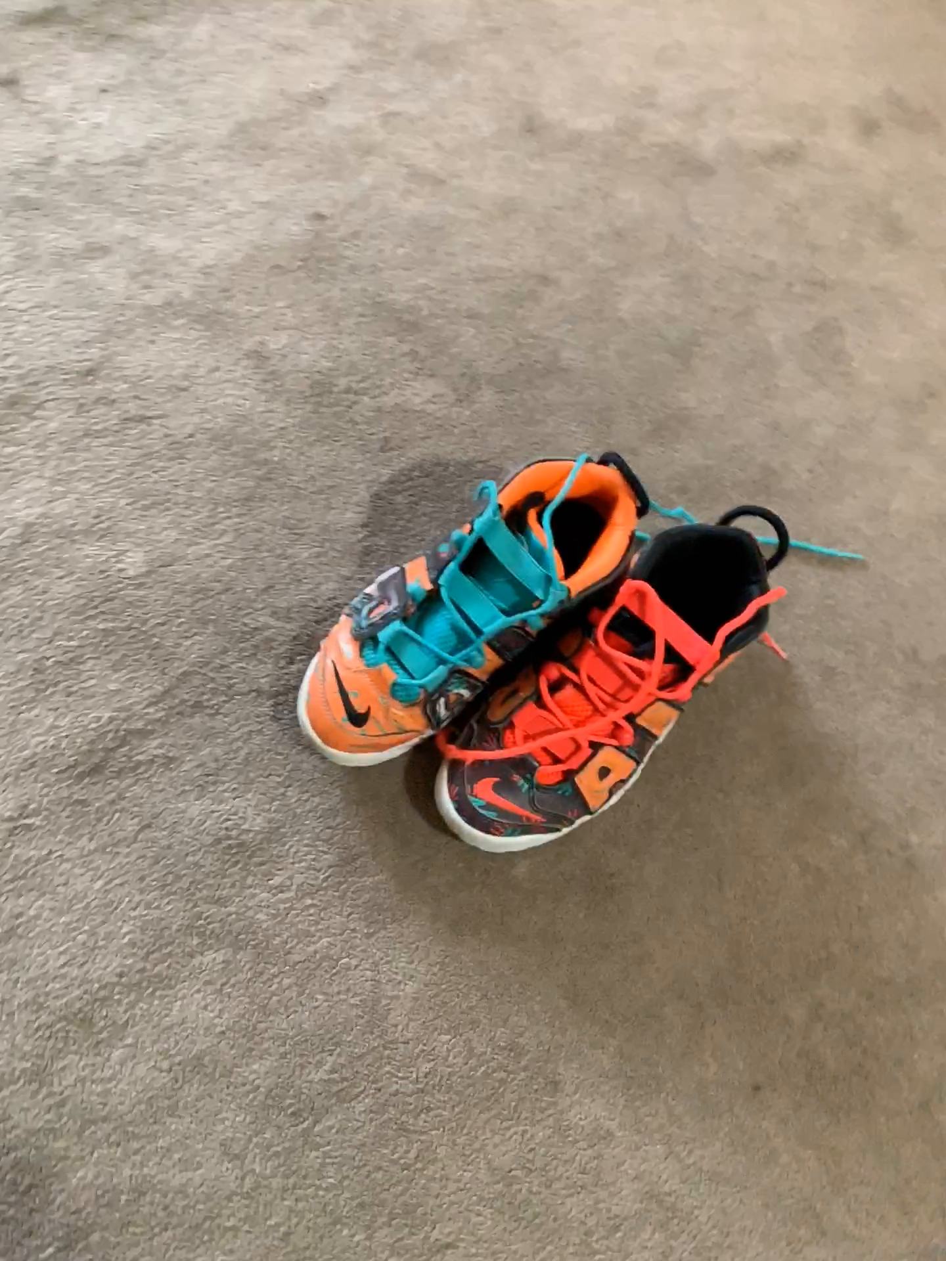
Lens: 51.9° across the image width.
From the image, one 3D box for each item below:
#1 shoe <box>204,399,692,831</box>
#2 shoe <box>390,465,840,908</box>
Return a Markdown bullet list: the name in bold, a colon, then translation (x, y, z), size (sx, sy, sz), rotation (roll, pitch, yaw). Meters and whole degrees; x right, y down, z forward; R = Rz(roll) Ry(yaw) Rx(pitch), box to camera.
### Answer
- **shoe**: translation (-0.011, -0.005, 0.558), size (0.250, 0.090, 0.100), rotation (-38, 81, -9)
- **shoe**: translation (0.077, 0.036, 0.554), size (0.230, 0.110, 0.100), rotation (-43, 79, -10)
